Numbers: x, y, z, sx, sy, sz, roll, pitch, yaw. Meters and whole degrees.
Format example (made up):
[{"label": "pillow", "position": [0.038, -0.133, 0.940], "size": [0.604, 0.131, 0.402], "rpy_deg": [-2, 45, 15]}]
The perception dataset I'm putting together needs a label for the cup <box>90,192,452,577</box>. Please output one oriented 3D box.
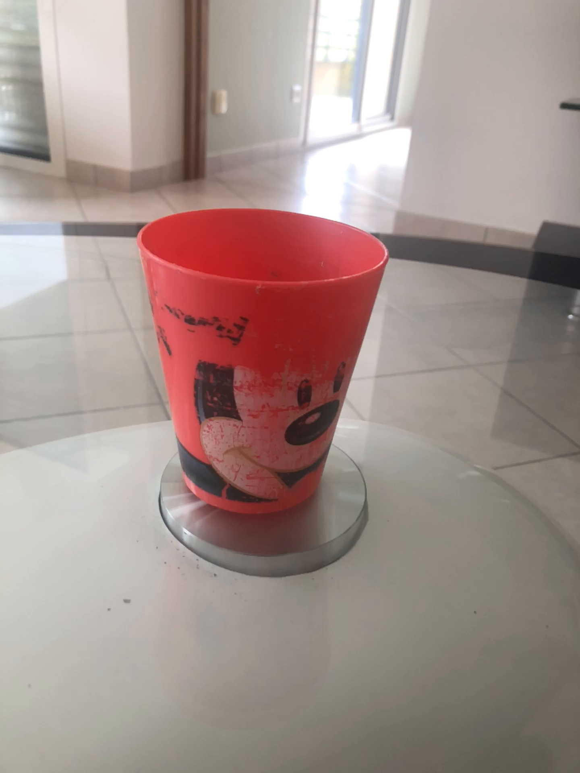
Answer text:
[{"label": "cup", "position": [-0.012, -0.010, 0.215], "size": [0.080, 0.089, 0.080], "rpy_deg": [4, 27, -2]}]
